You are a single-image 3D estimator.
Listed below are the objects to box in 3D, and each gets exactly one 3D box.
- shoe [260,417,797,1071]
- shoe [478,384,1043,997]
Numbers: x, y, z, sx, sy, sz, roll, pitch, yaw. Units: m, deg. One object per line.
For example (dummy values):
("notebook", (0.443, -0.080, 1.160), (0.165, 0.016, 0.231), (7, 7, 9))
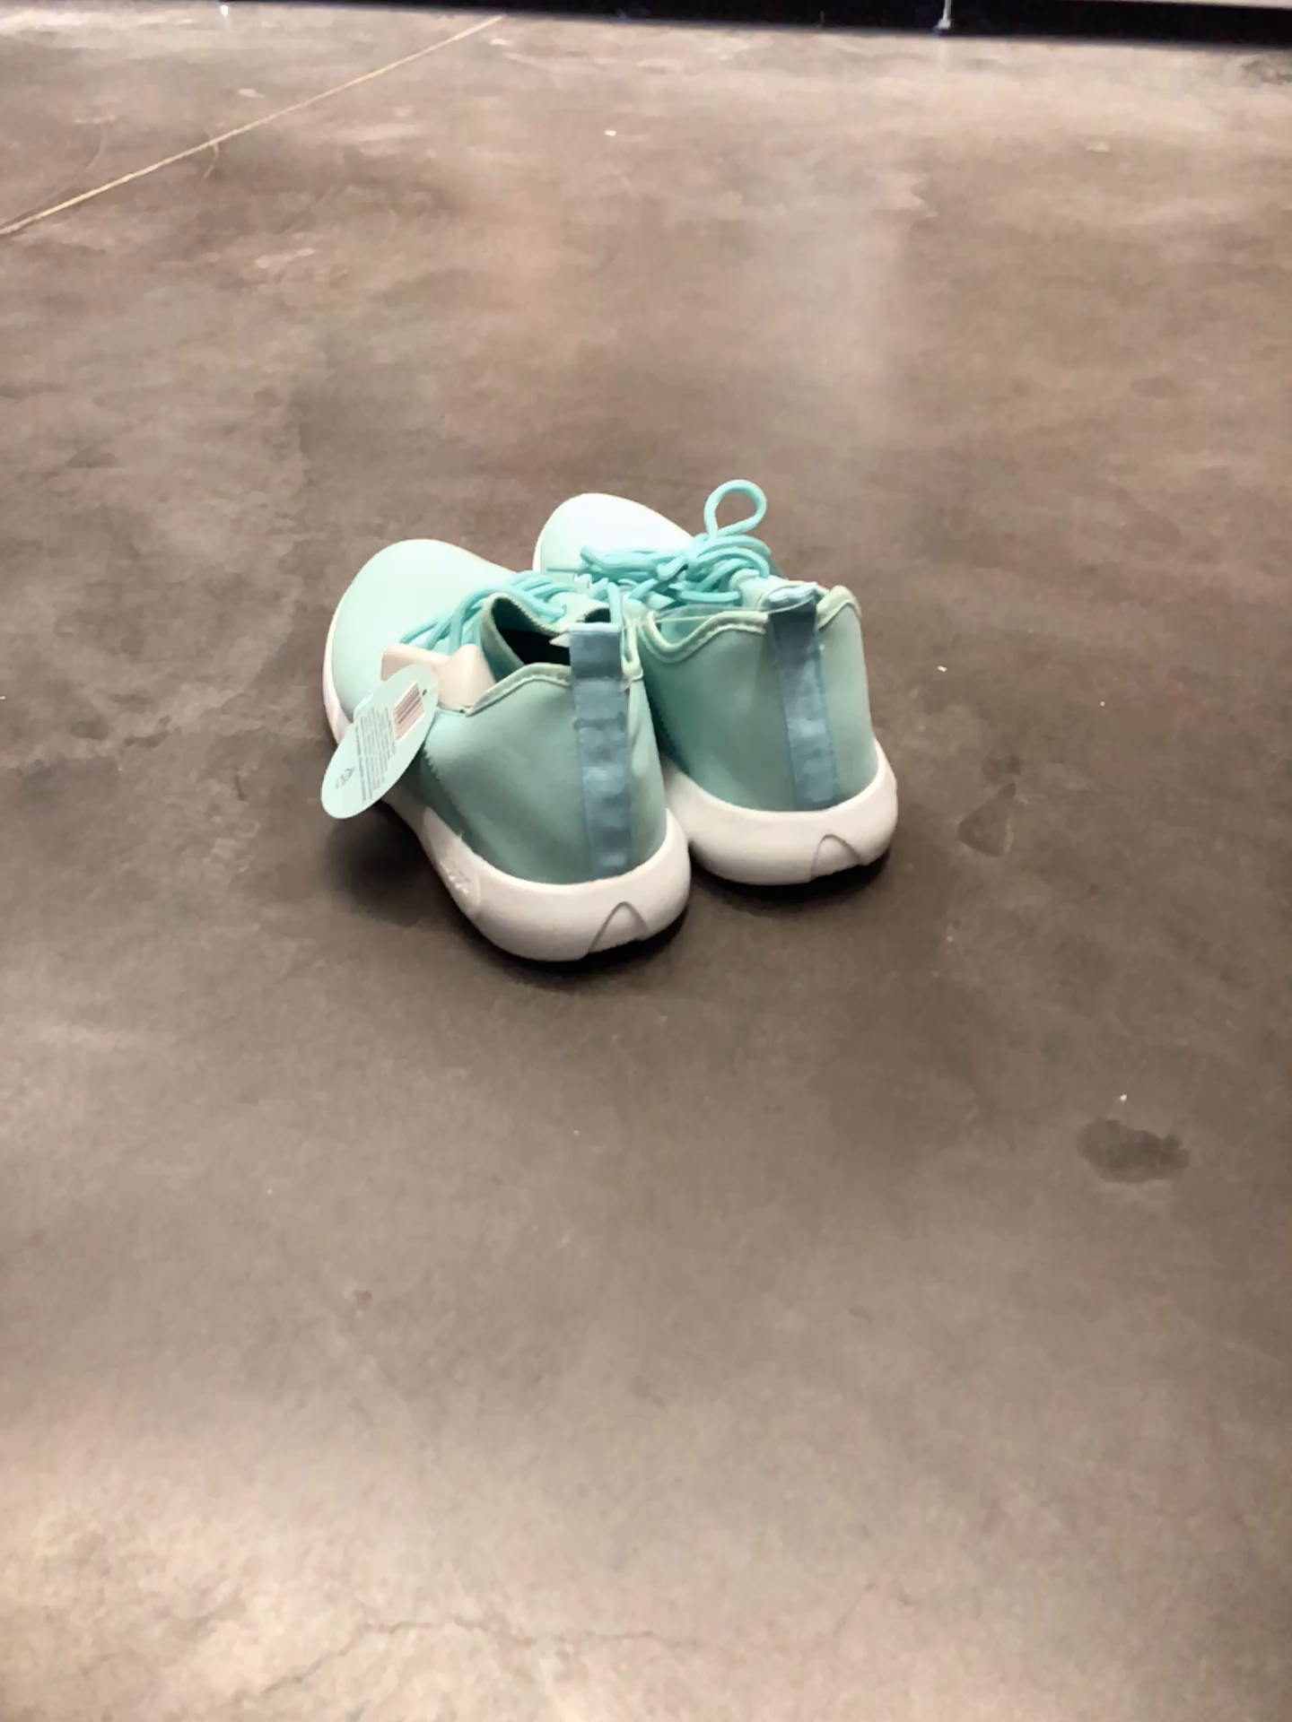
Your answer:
("shoe", (-0.050, -0.056, 0.484), (0.100, 0.099, 0.231), (-15, 41, -18))
("shoe", (0.025, -0.076, 0.505), (0.100, 0.099, 0.231), (-14, 41, -17))
